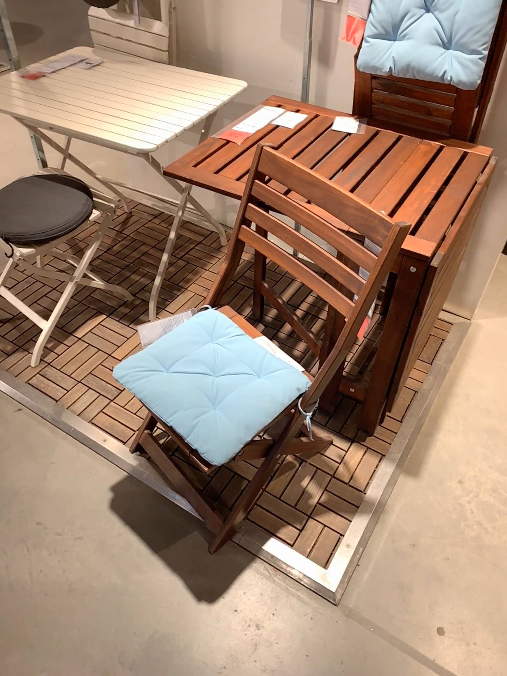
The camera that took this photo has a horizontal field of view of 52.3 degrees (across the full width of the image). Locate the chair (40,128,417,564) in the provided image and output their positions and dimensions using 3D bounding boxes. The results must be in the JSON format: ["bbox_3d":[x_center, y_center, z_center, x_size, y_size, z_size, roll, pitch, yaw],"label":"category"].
[{"bbox_3d":[-0.053,0.031,1.232,0.521,0.777,0.471,-30,53,-28],"label":"chair"}]
